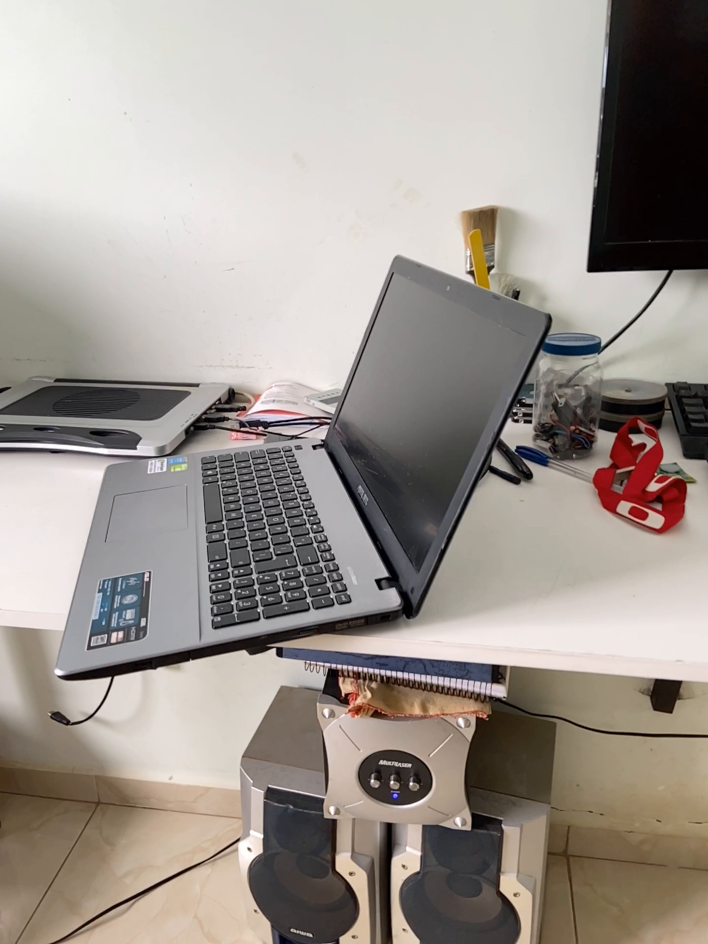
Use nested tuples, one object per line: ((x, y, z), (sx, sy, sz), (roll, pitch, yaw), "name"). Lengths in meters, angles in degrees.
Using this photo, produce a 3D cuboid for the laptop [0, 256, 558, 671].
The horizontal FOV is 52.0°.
((-0.076, -0.054, 0.660), (0.356, 0.213, 0.377), (-7, 23, -11), "laptop")
